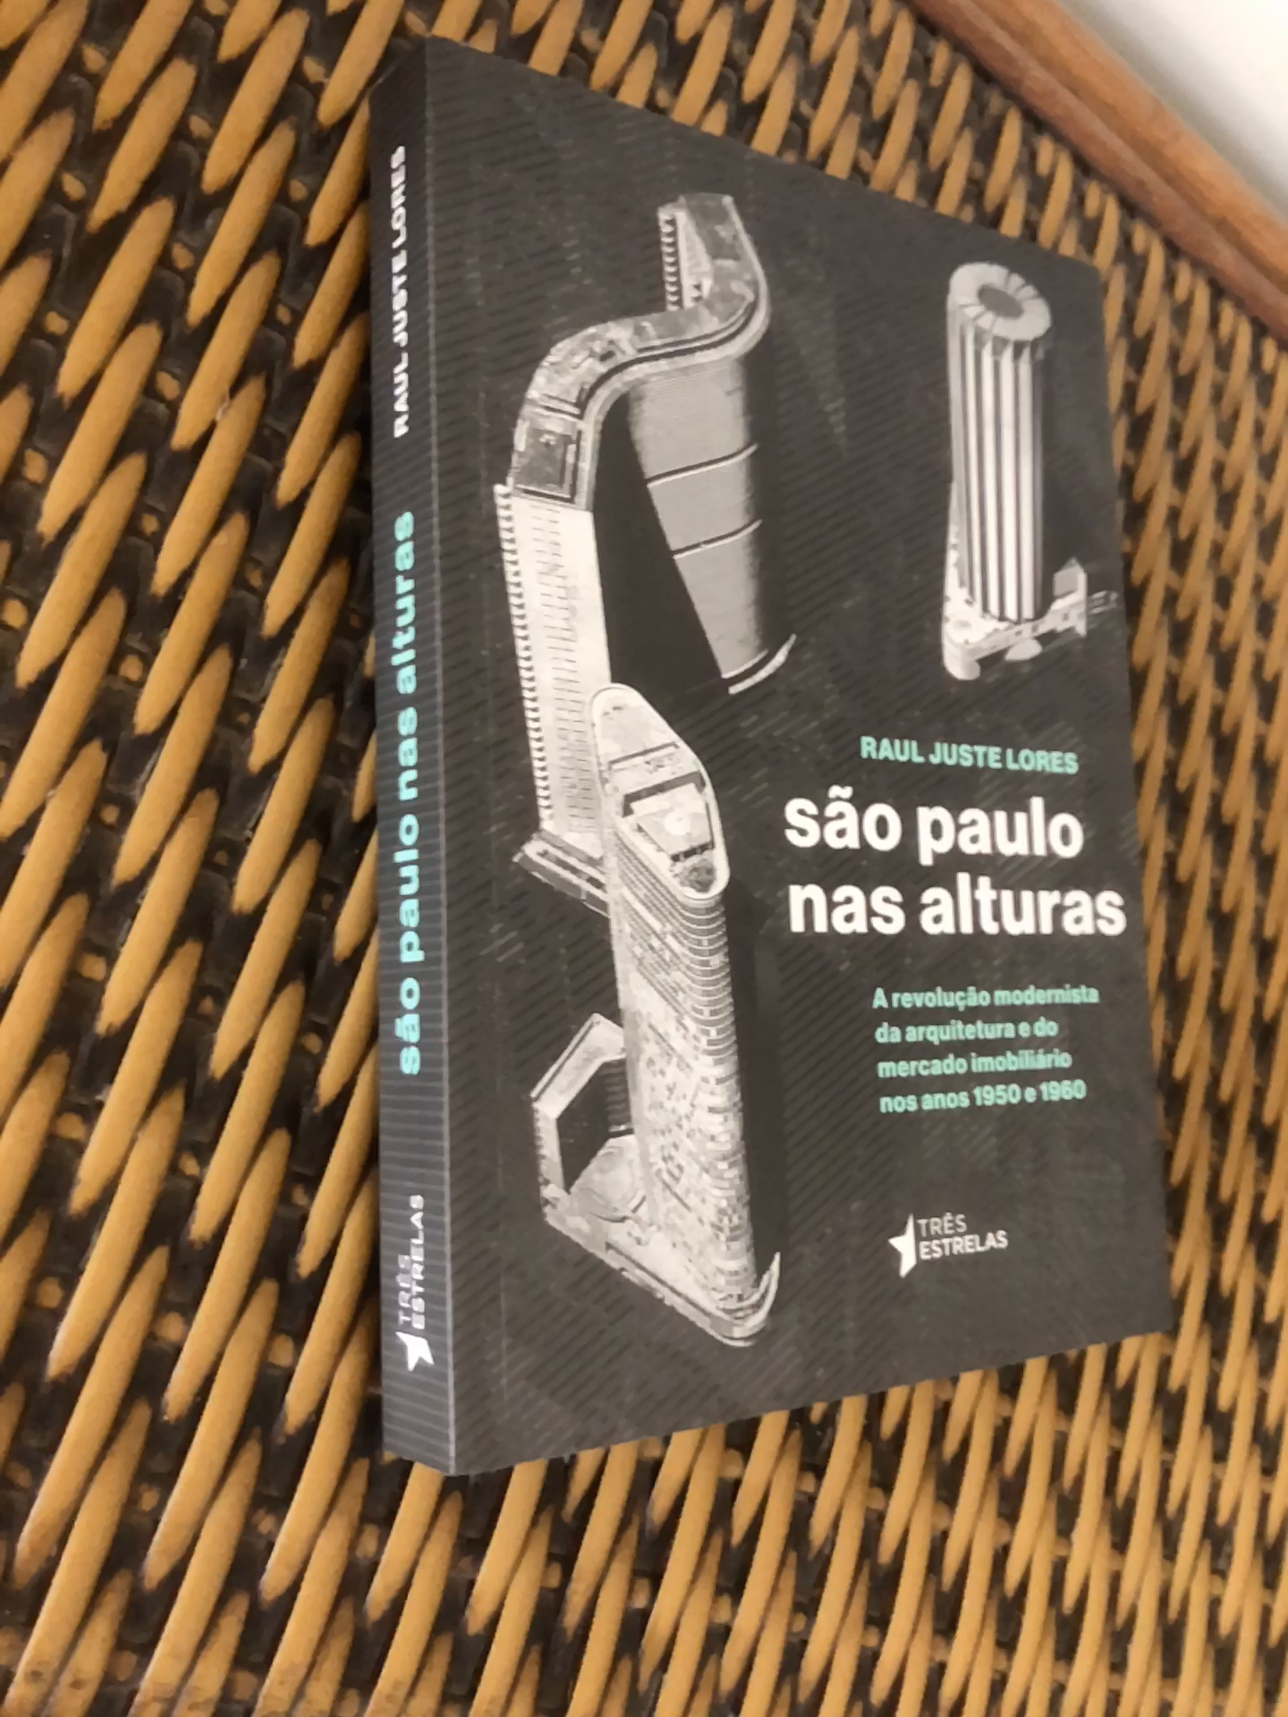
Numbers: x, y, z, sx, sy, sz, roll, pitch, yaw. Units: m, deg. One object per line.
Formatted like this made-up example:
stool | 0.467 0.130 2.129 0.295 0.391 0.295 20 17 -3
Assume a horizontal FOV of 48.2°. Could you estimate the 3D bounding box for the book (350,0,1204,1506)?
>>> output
book | 0.031 -0.020 0.256 0.161 0.030 0.221 2 85 -32
